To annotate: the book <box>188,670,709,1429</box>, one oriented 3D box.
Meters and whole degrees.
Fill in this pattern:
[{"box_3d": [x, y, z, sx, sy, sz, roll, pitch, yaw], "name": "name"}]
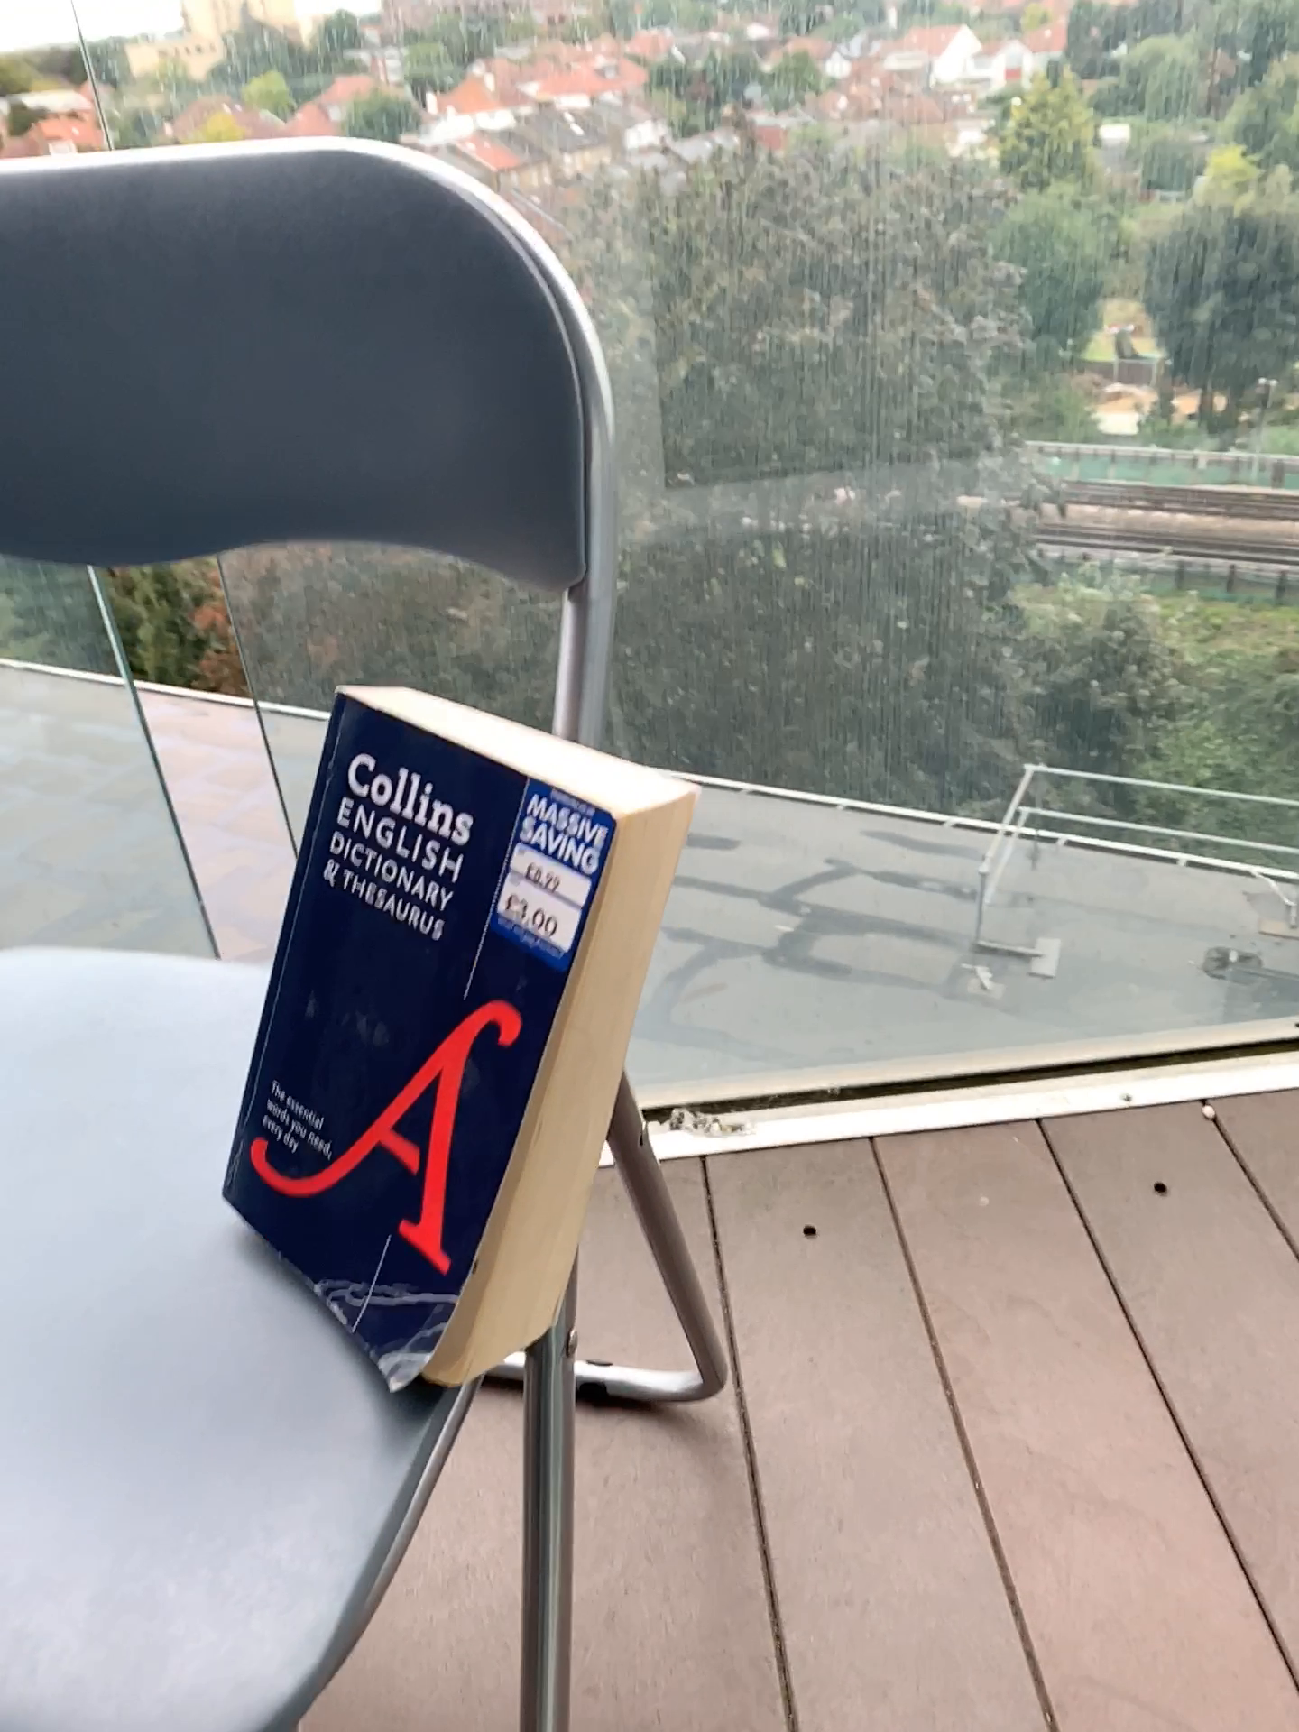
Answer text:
[{"box_3d": [-0.076, 0.052, 0.447, 0.141, 0.199, 0.060, 26, 17, 39], "name": "book"}]
